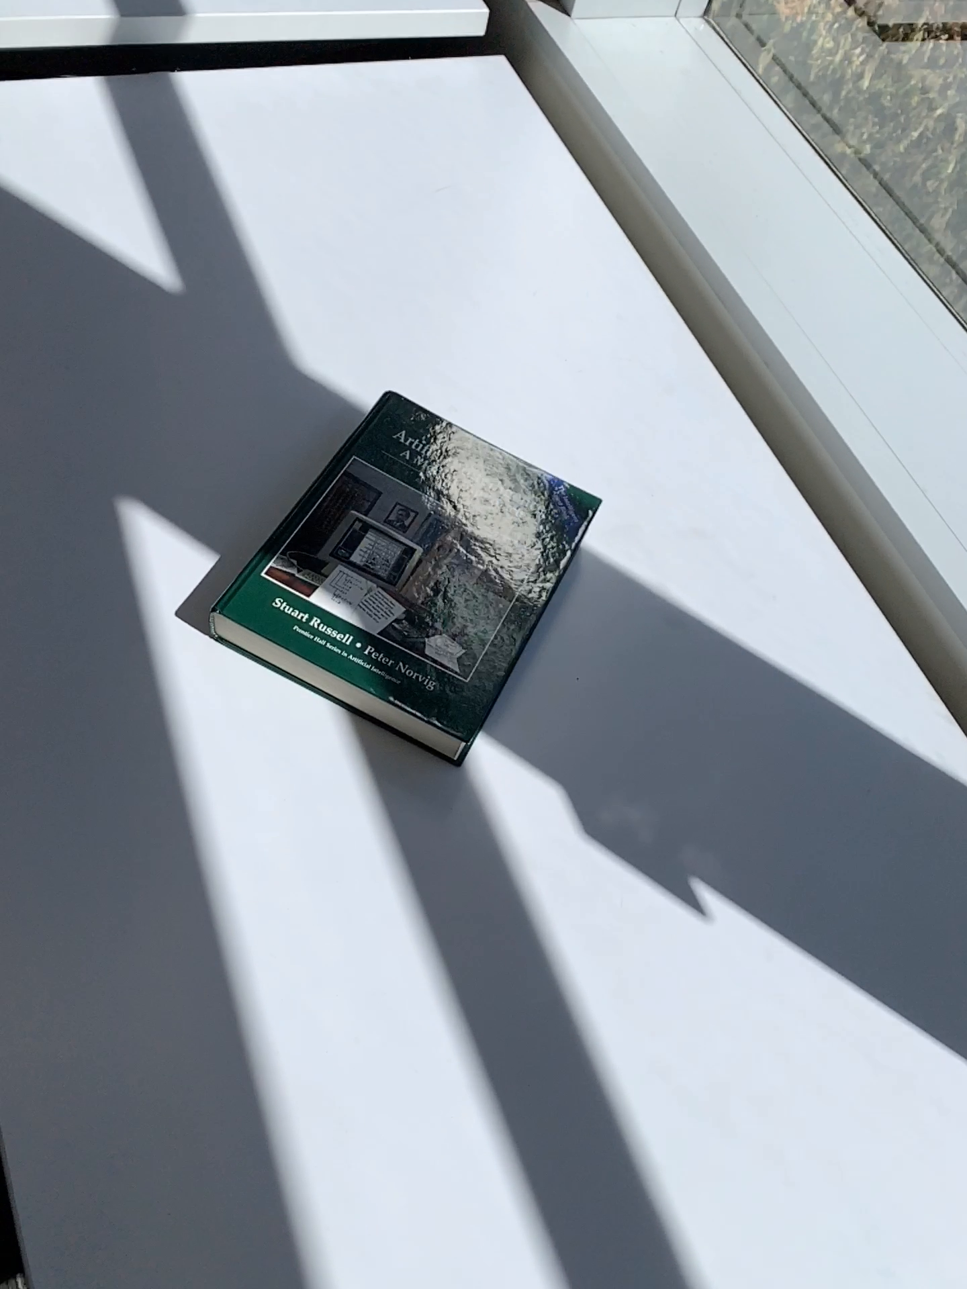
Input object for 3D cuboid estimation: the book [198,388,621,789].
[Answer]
[{"bbox_3d":[-0.048,-0.056,0.780,0.230,0.050,0.261,28,57,4],"label":"book"}]
